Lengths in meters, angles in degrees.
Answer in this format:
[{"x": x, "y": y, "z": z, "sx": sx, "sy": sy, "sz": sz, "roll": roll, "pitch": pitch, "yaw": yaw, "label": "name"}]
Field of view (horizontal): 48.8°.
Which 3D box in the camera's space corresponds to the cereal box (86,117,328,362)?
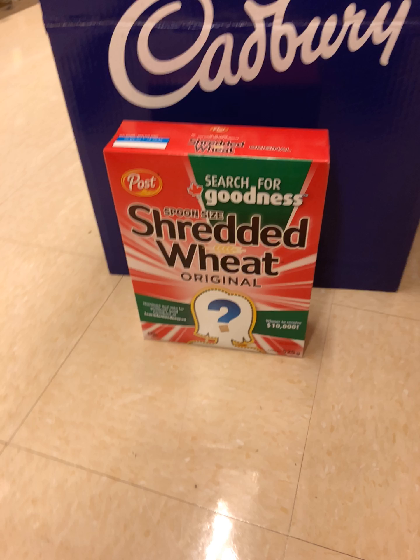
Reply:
[{"x": 0.006, "y": -0.032, "z": 0.510, "sx": 0.210, "sy": 0.268, "sz": 0.070, "roll": 5, "pitch": 43, "yaw": 10, "label": "cereal box"}]
